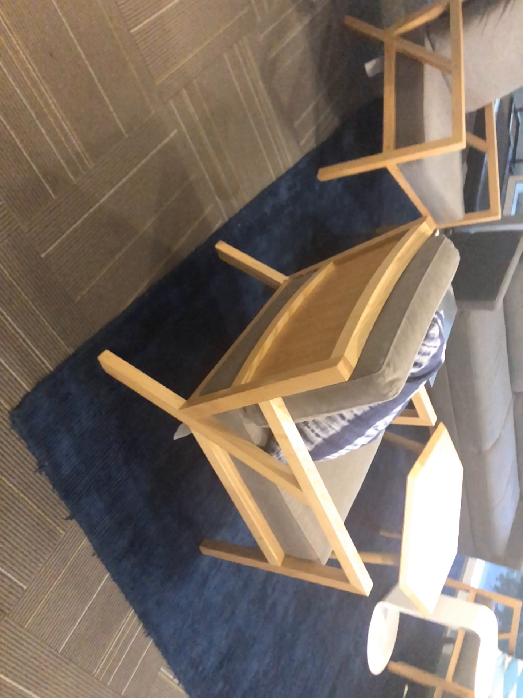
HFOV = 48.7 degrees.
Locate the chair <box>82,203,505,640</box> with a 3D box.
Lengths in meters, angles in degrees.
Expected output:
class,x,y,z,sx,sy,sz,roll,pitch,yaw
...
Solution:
class,x,y,z,sx,sy,sz,roll,pitch,yaw
chair,0.172,0.157,1.621,0.675,0.773,0.831,-52,133,-41
